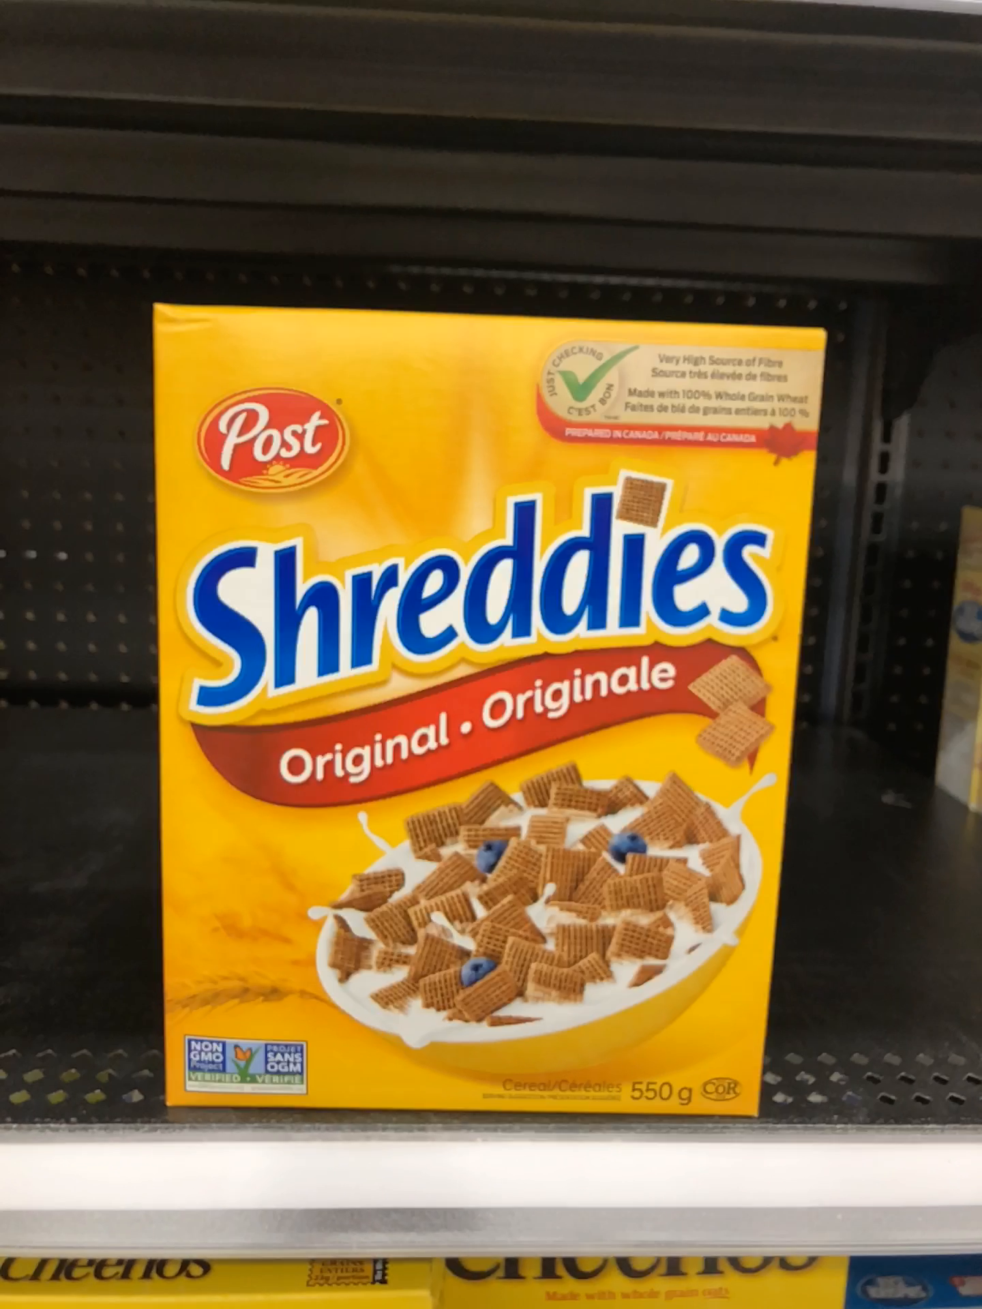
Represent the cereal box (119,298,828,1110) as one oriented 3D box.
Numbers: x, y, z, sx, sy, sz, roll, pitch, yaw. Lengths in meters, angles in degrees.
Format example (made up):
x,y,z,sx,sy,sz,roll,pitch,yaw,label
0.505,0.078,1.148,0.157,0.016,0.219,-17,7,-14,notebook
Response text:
x,y,z,sx,sy,sz,roll,pitch,yaw,label
-0.010,0.019,0.380,0.210,0.259,0.070,2,10,-3,cereal box
